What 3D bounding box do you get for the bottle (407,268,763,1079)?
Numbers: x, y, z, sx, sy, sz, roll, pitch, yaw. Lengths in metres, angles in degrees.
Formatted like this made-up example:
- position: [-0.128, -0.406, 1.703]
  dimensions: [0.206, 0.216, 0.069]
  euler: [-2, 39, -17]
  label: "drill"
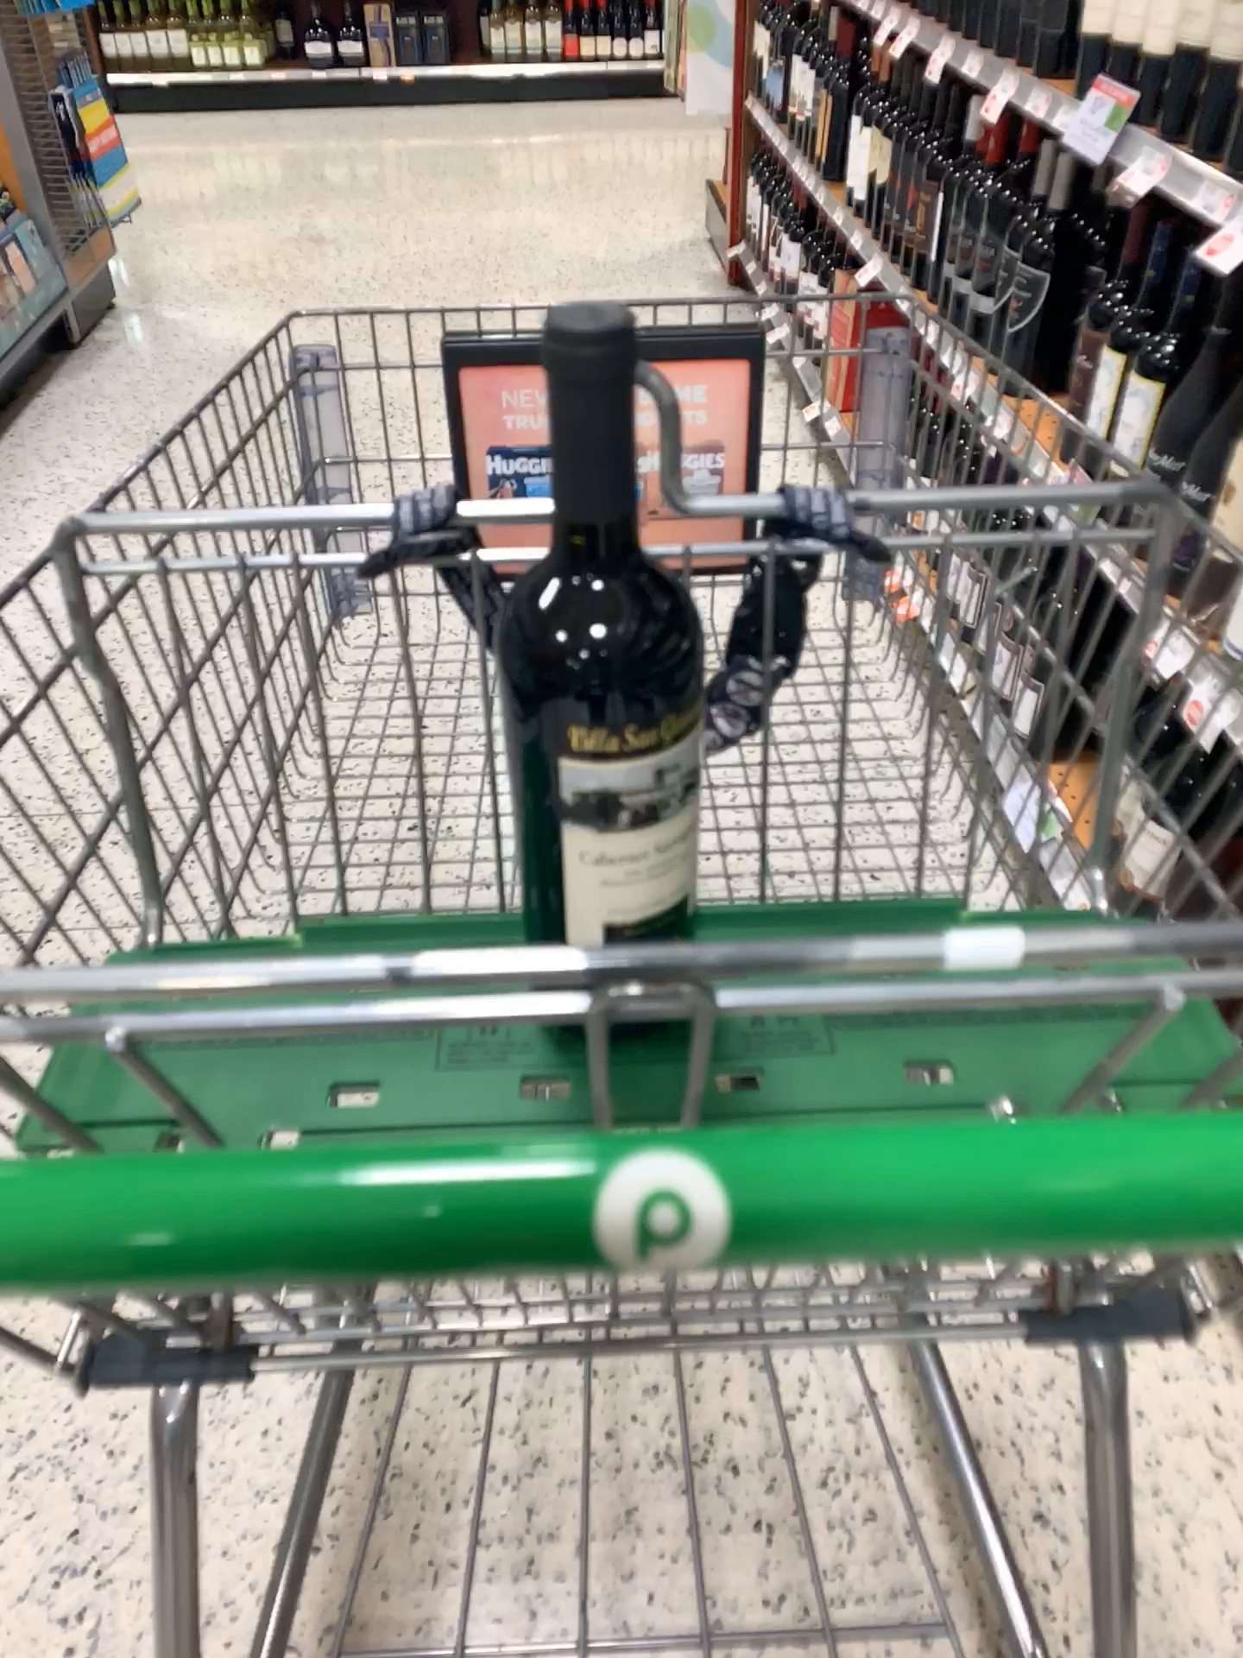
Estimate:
- position: [-0.010, -0.042, 0.456]
  dimensions: [0.080, 0.277, 0.075]
  euler: [-1, 38, 1]
  label: "bottle"
